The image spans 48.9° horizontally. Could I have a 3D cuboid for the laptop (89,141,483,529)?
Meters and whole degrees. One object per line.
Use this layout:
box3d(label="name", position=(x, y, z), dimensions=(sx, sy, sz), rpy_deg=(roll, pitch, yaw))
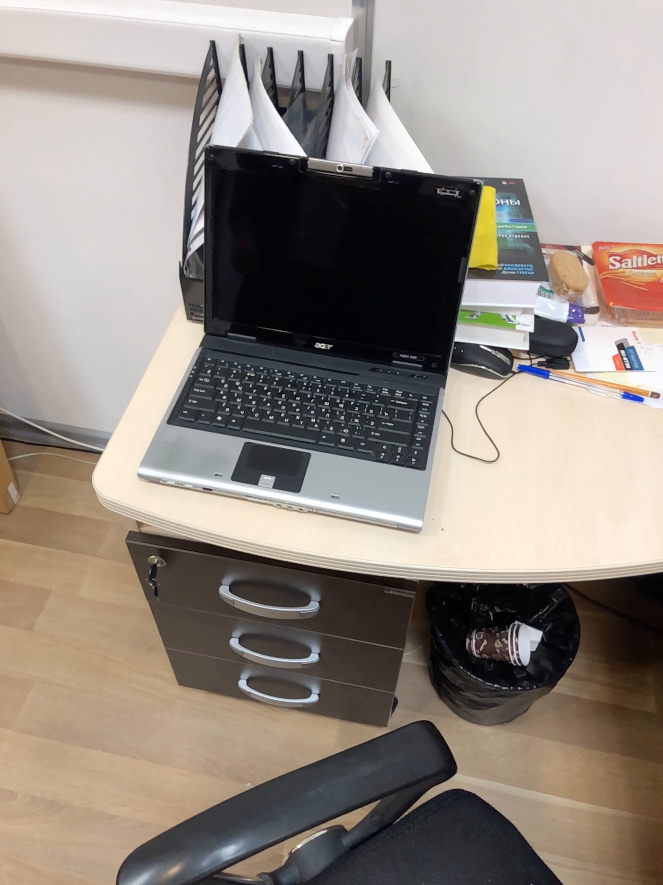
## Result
box3d(label="laptop", position=(-0.025, -0.131, 0.818), dimensions=(0.325, 0.219, 0.325), rpy_deg=(10, 51, 8))
